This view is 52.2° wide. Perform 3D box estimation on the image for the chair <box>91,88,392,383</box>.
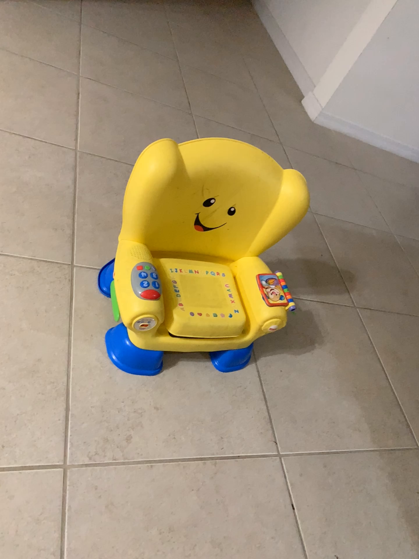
[{"bbox_3d":[0.013,-0.052,0.968,0.421,0.485,0.373,7,49,-28],"label":"chair"}]
